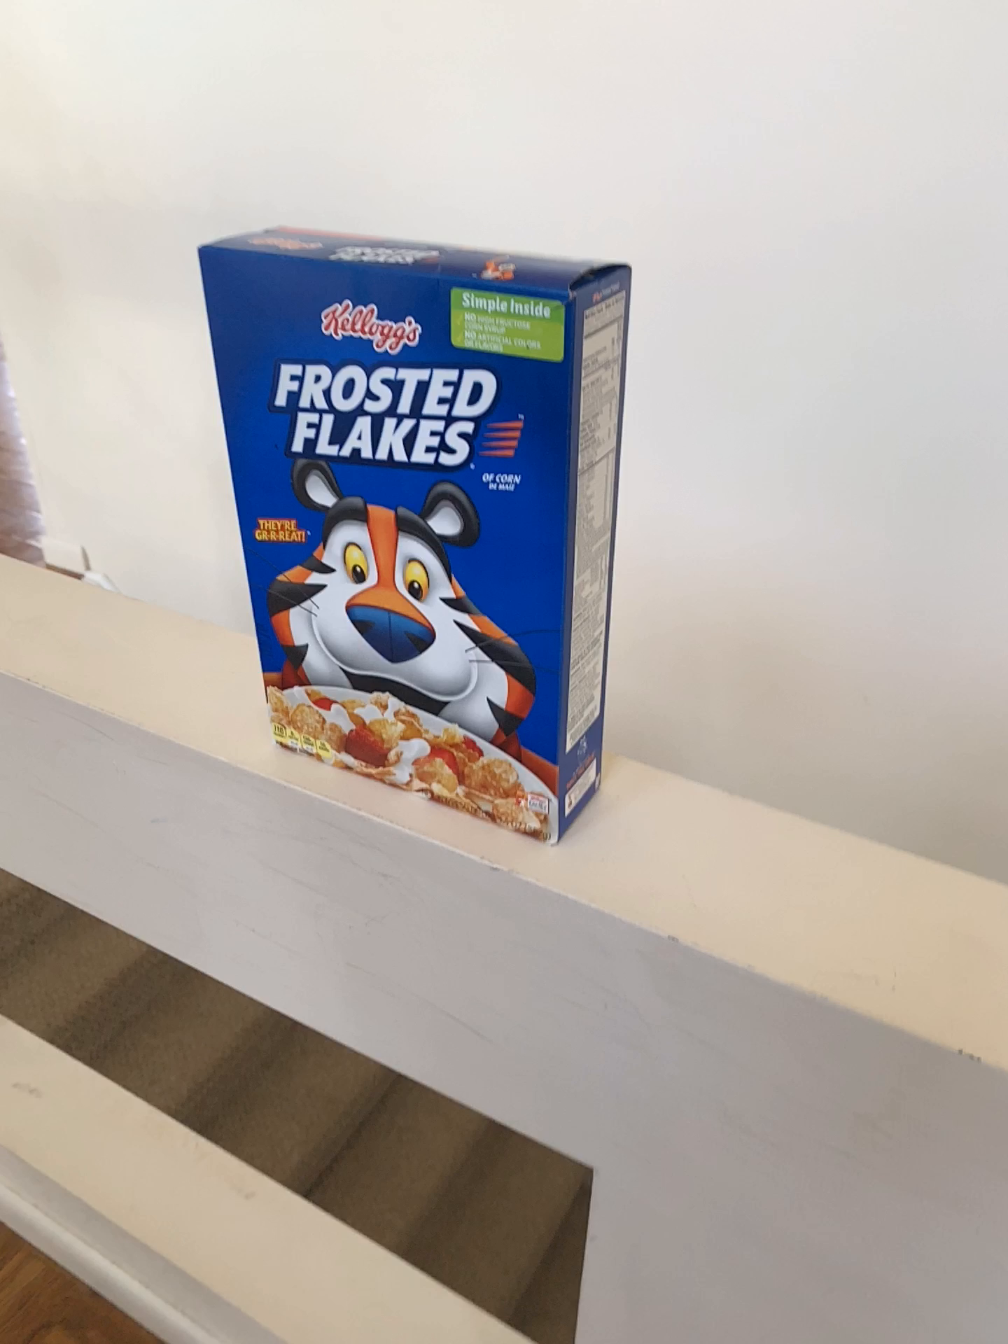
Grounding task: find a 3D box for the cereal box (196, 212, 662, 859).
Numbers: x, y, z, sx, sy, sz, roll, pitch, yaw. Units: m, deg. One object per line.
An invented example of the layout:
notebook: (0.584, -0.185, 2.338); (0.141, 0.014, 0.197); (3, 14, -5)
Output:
cereal box: (-0.036, -0.065, 0.525); (0.200, 0.288, 0.060); (17, 37, 24)
